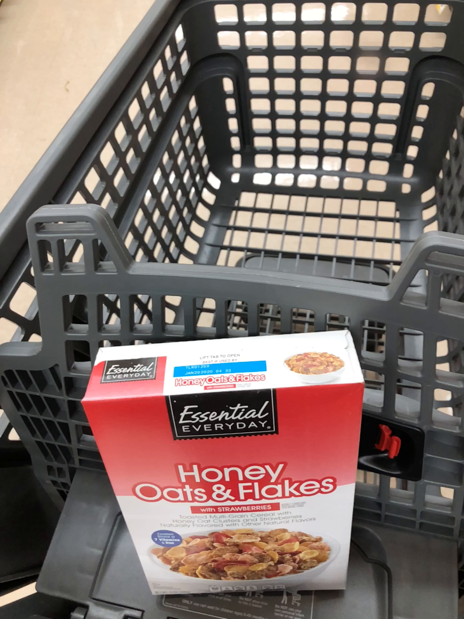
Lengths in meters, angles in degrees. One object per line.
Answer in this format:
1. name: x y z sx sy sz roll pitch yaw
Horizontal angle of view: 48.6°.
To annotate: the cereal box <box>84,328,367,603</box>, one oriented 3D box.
1. cereal box: 0.006 0.143 0.423 0.180 0.260 0.060 -4 35 3
